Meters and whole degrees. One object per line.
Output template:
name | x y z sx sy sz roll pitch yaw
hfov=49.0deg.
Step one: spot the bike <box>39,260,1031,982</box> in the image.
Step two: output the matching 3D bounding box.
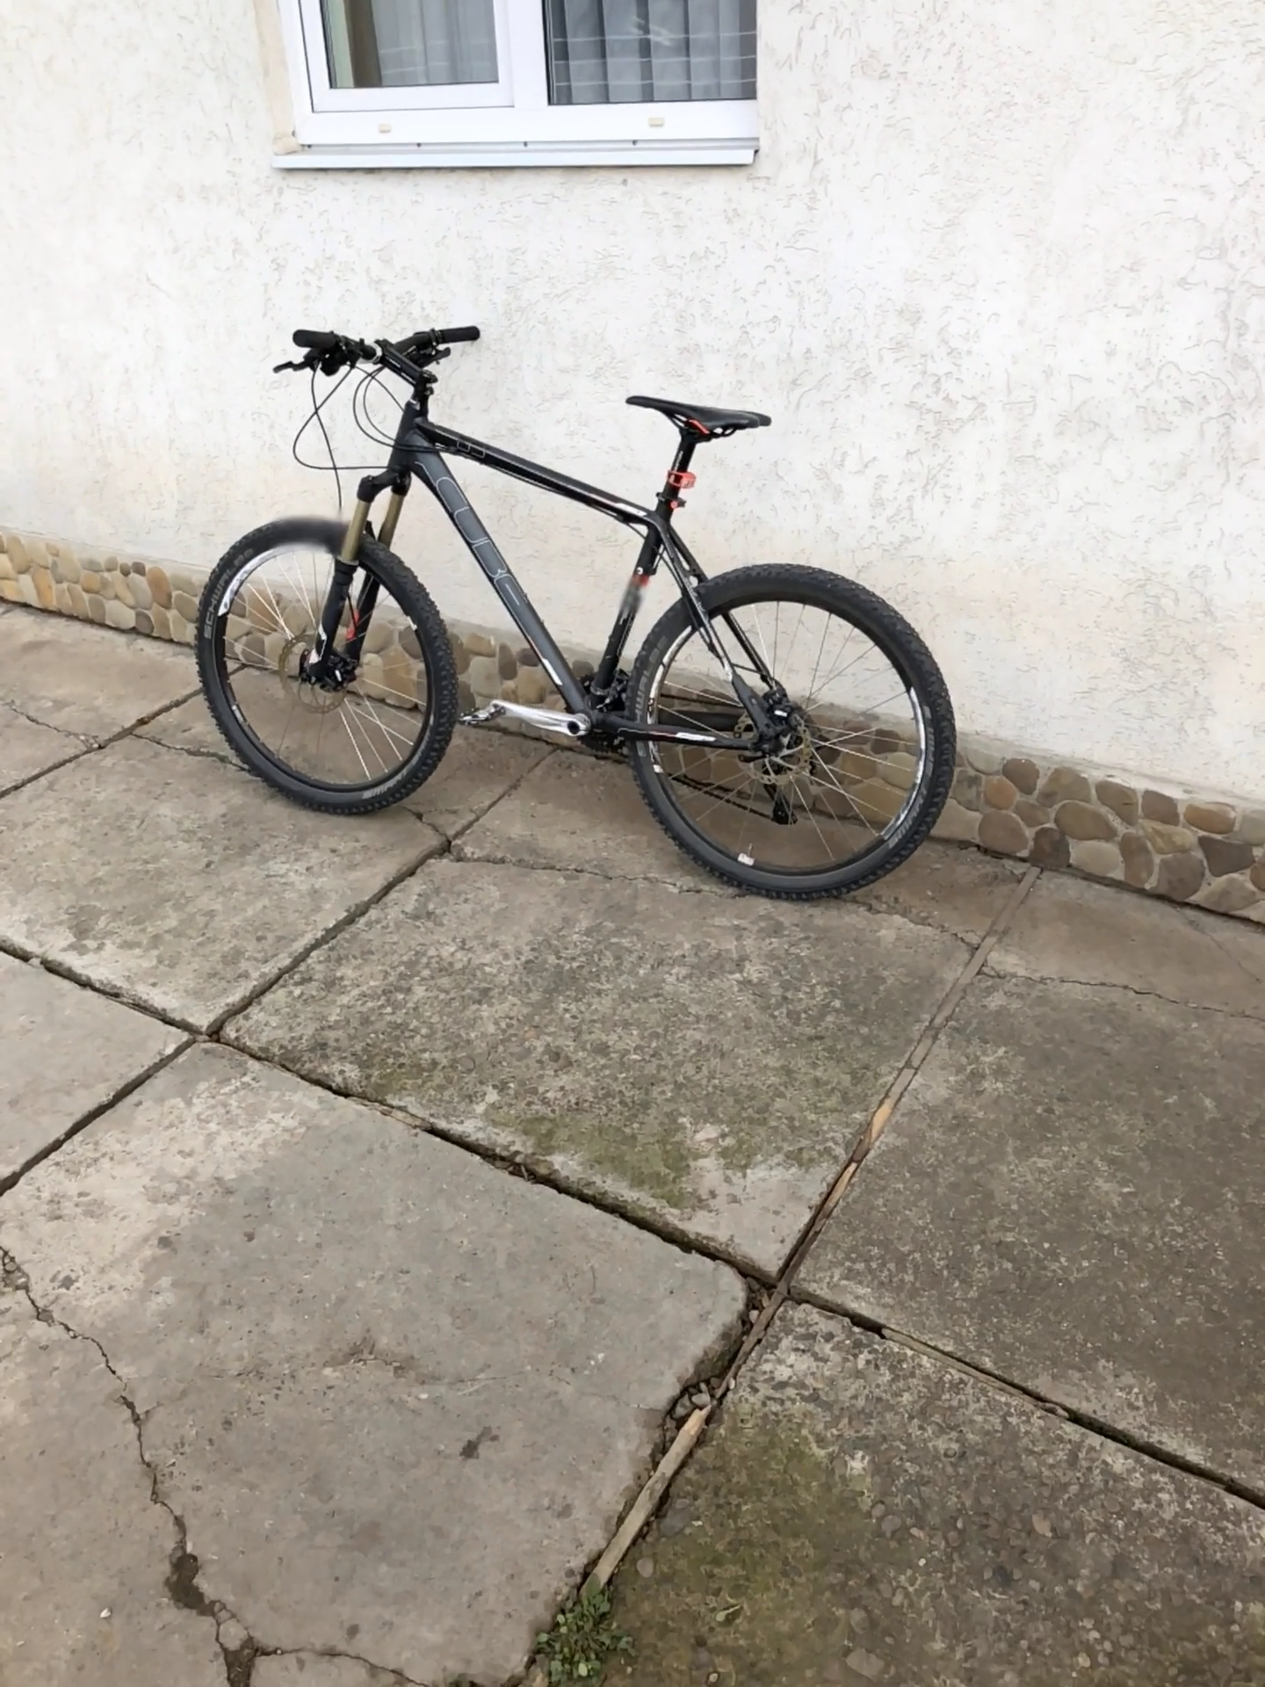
bike | -0.190 -0.555 2.931 1.774 1.090 0.690 12 32 22
